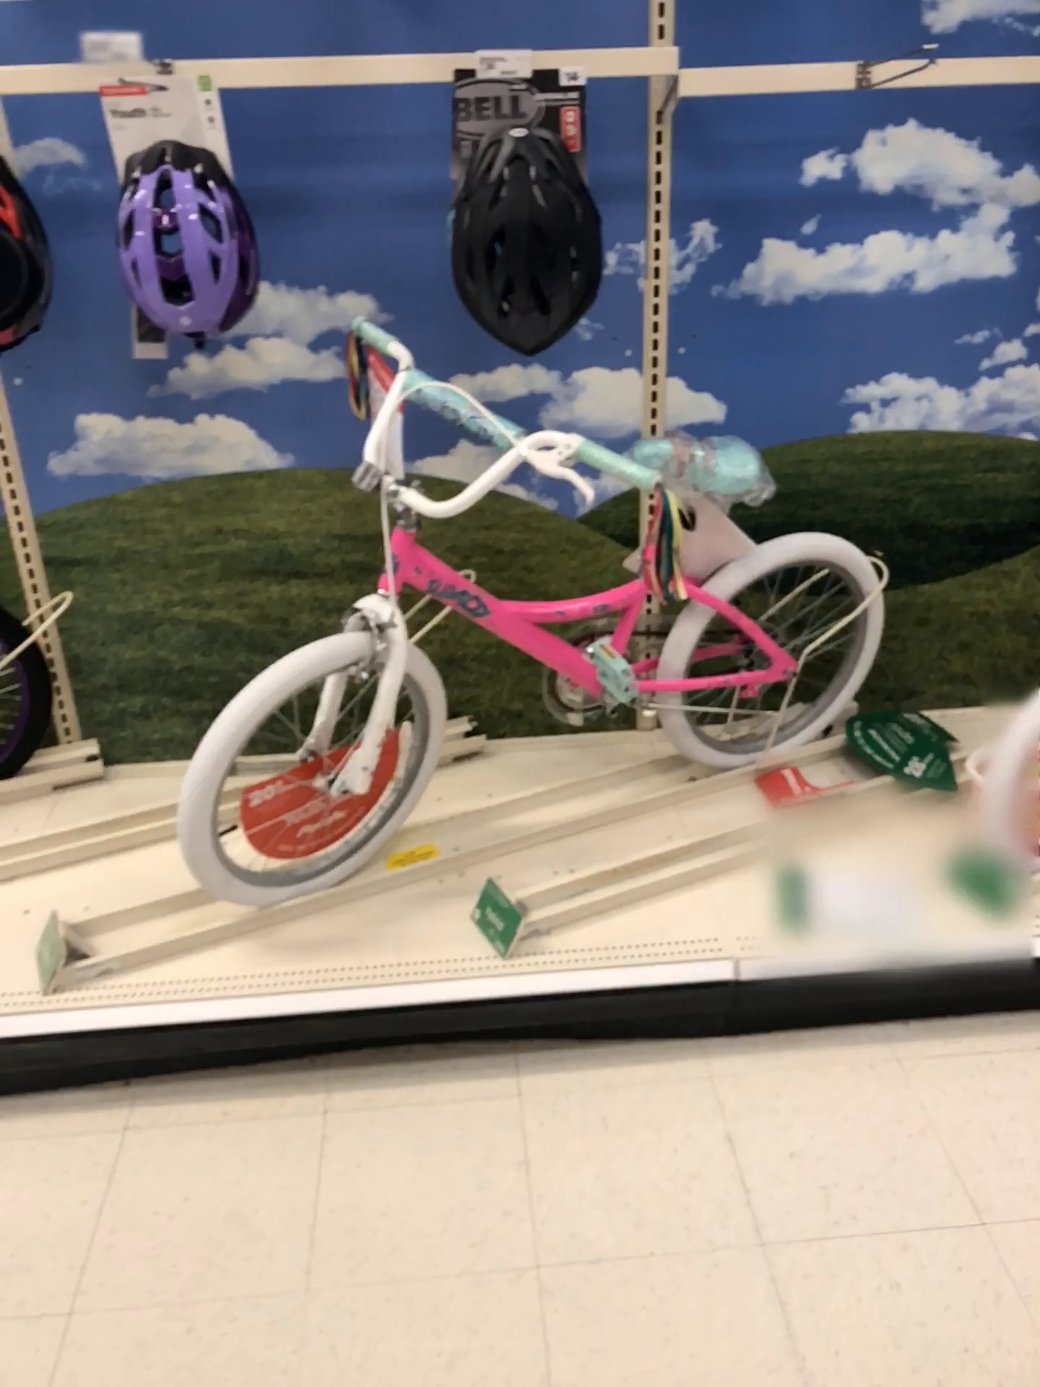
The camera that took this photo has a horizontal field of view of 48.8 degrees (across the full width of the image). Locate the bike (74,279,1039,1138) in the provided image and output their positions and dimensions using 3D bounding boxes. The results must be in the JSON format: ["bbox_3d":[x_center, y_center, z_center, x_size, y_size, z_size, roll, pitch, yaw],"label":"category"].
[{"bbox_3d":[0.095,-0.105,1.916,1.347,0.882,0.729,-16,29,-22],"label":"bike"}]
